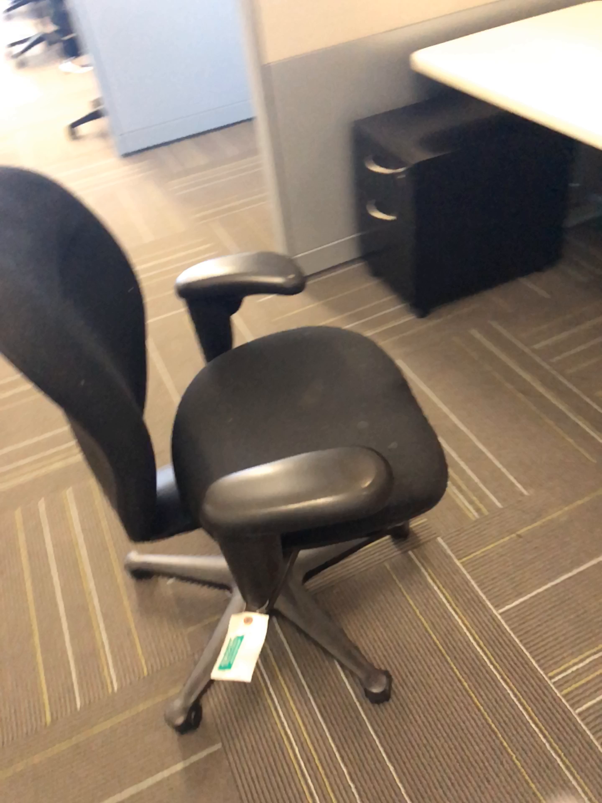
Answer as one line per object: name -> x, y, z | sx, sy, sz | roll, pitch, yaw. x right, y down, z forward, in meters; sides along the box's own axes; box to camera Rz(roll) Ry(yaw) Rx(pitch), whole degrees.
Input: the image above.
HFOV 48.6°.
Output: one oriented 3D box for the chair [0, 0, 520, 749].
chair -> -0.130, -0.020, 1.147 | 0.680, 0.995, 0.703 | -9, 42, 0
